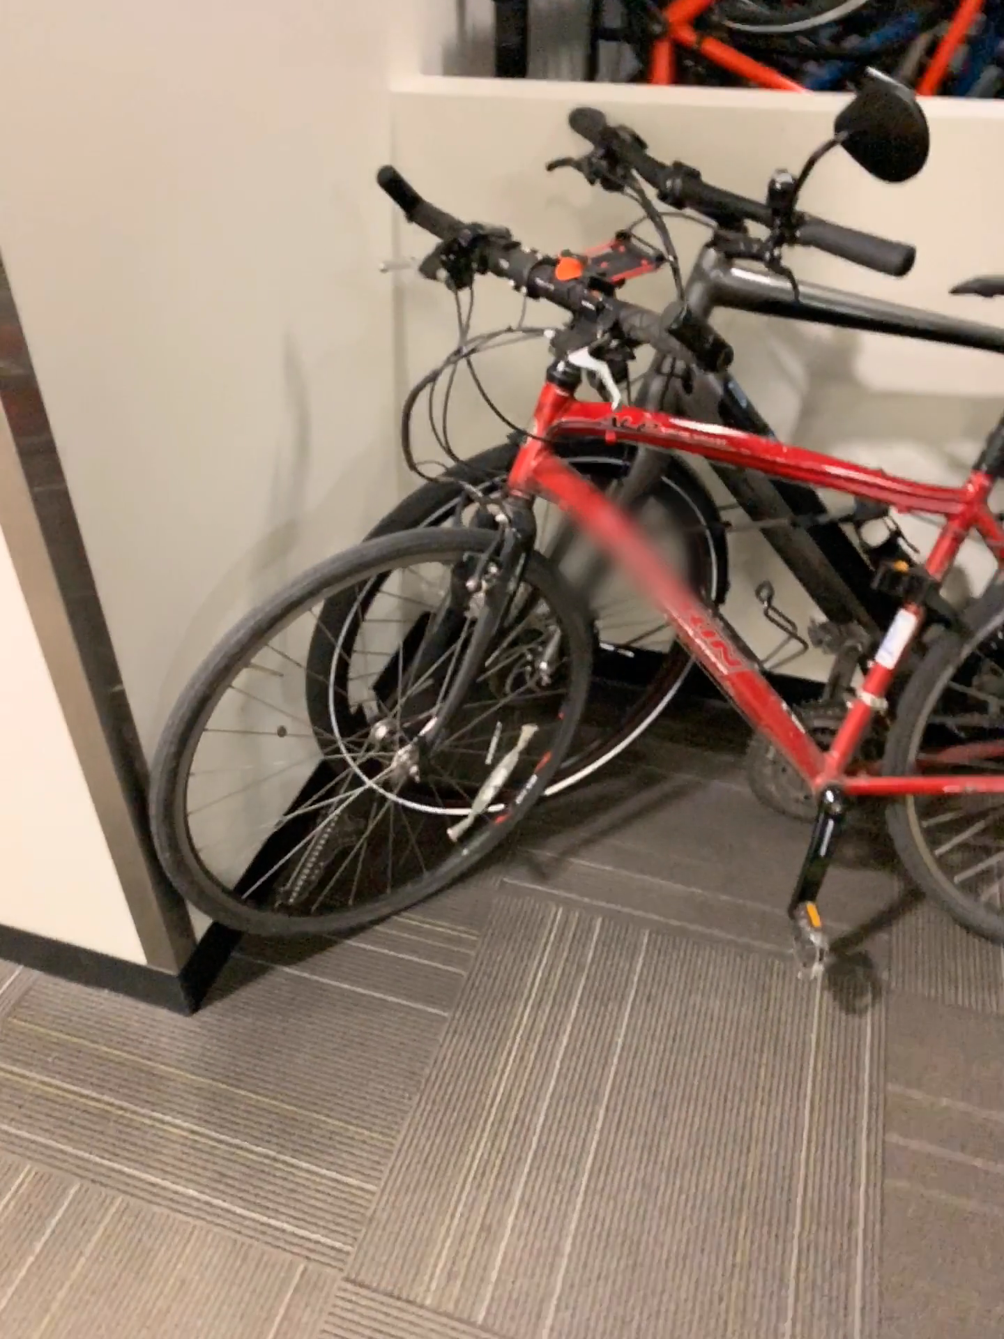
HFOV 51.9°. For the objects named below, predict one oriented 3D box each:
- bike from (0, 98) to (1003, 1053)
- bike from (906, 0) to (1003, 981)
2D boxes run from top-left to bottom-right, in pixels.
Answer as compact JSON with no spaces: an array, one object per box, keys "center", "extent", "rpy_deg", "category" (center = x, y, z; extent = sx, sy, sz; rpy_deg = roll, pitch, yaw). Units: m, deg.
[{"center":[0.418,-0.086,1.320],"extent":[1.610,0.927,0.606],"rpy_deg":[0,37,-6],"category":"bike"},{"center":[1.143,-0.239,1.498],"extent":[0.725,1.149,0.696],"rpy_deg":[2,37,-6],"category":"bike"}]
